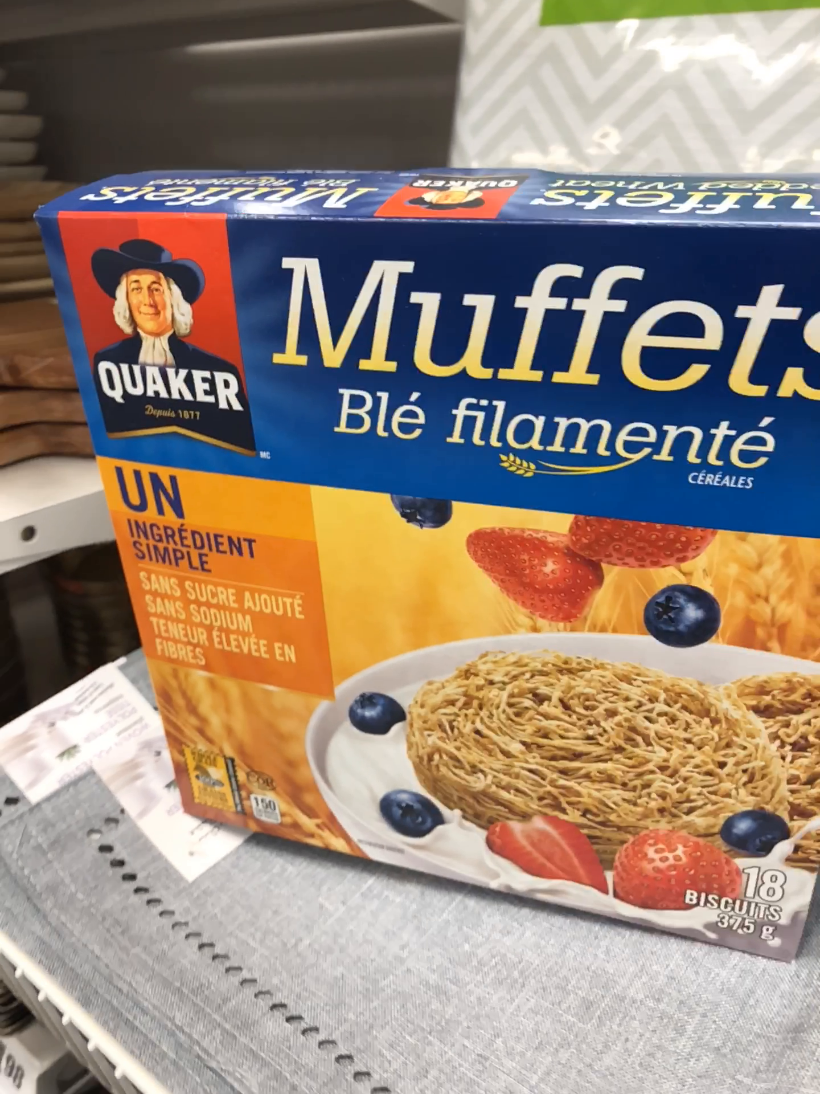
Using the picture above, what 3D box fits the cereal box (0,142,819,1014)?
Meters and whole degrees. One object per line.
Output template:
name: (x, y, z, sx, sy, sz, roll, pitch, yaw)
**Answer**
cereal box: (0.022, 0.007, 0.279, 0.250, 0.229, 0.060, 8, 32, 19)
